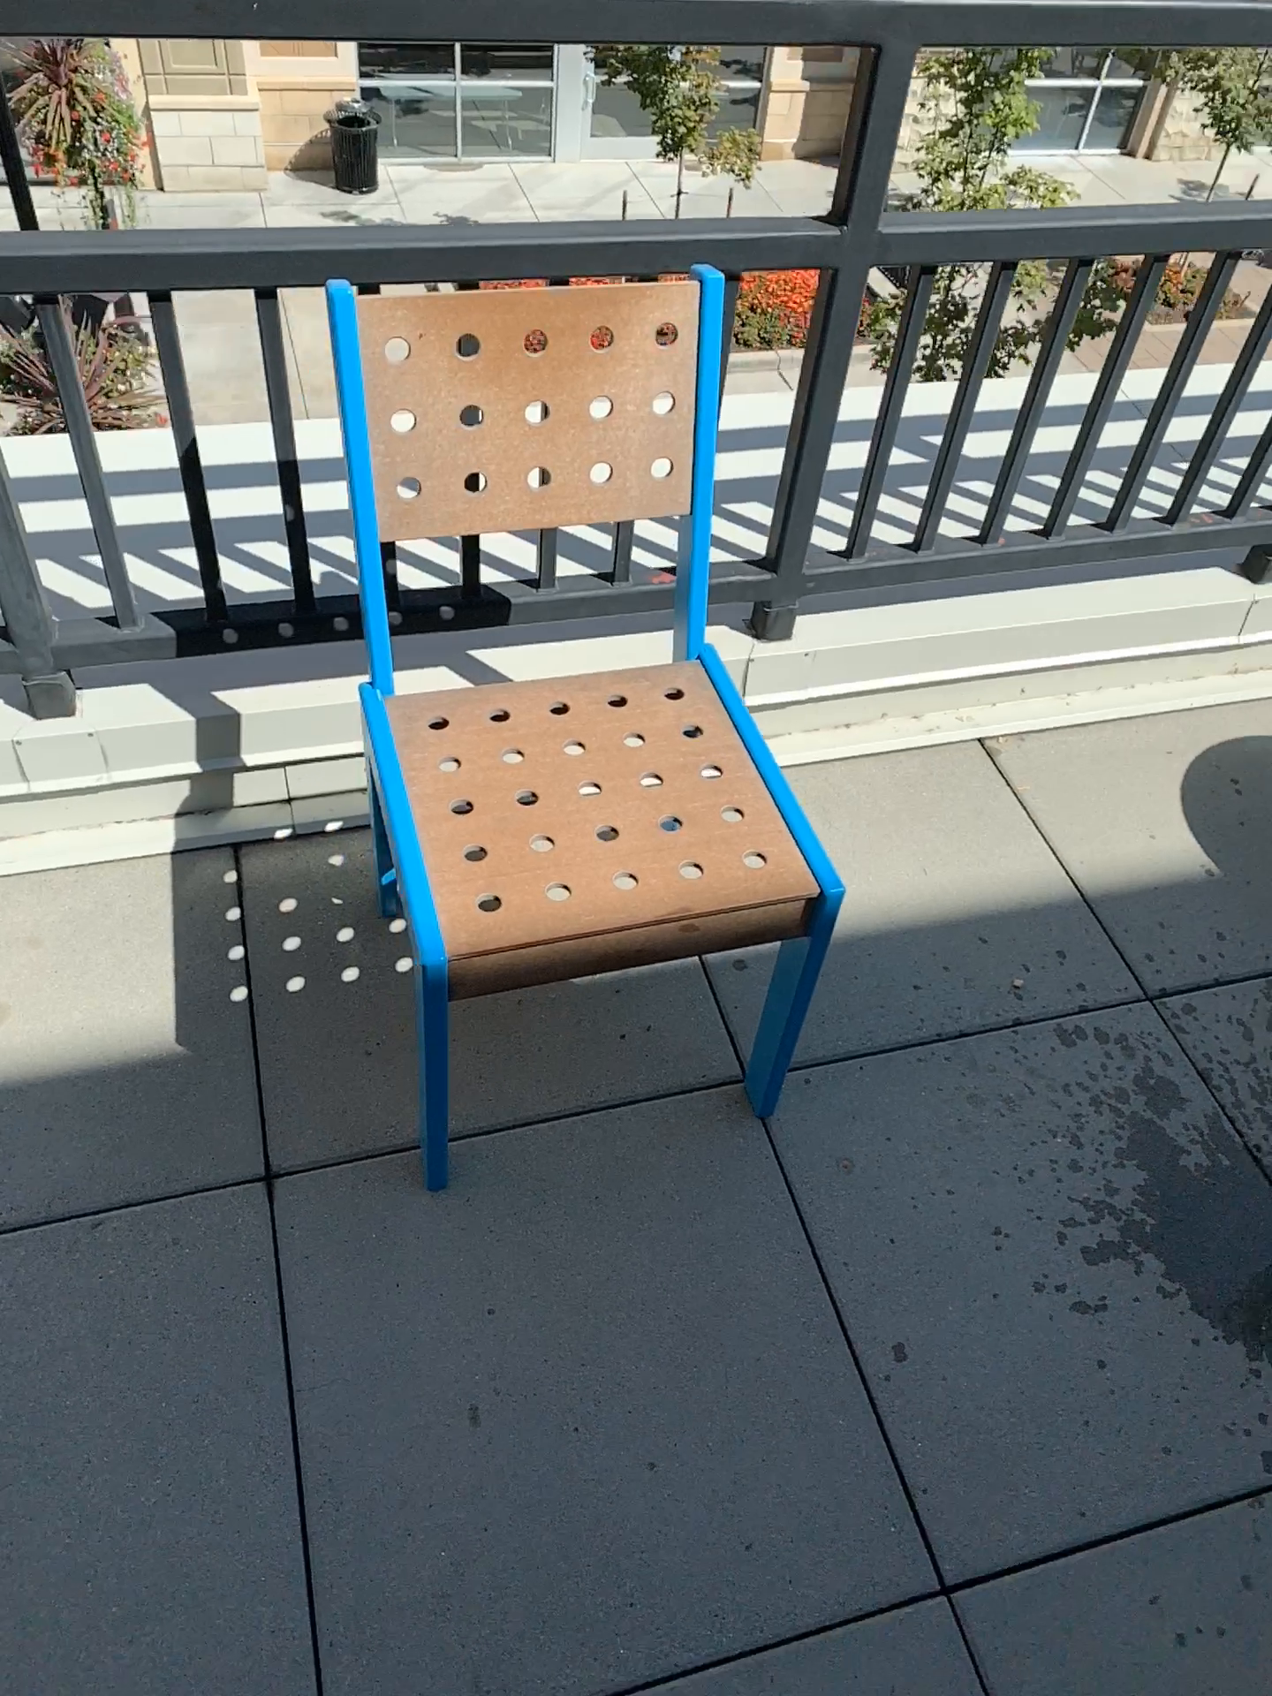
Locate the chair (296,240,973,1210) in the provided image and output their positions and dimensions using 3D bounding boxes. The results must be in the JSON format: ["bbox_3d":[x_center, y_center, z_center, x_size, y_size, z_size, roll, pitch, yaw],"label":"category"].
[{"bbox_3d":[-0.078,-0.133,1.524,0.470,0.856,0.672,-9,48,-14],"label":"chair"}]
